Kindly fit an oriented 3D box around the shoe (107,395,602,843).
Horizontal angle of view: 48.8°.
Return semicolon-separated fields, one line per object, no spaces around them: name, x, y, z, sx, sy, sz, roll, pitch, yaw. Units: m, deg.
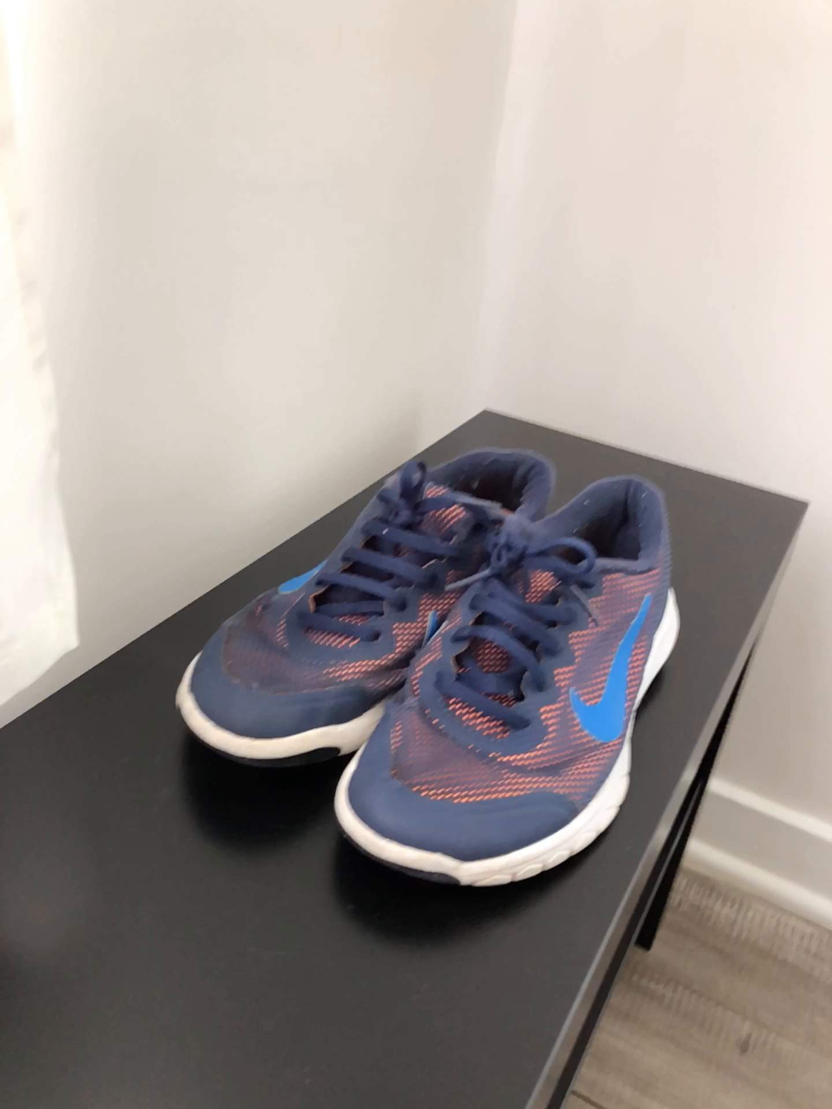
shoe;-0.013;0.008;0.457;0.100;0.089;0.260;22;34;26

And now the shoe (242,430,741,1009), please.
shoe;0.050;0.041;0.407;0.120;0.089;0.261;18;32;20
